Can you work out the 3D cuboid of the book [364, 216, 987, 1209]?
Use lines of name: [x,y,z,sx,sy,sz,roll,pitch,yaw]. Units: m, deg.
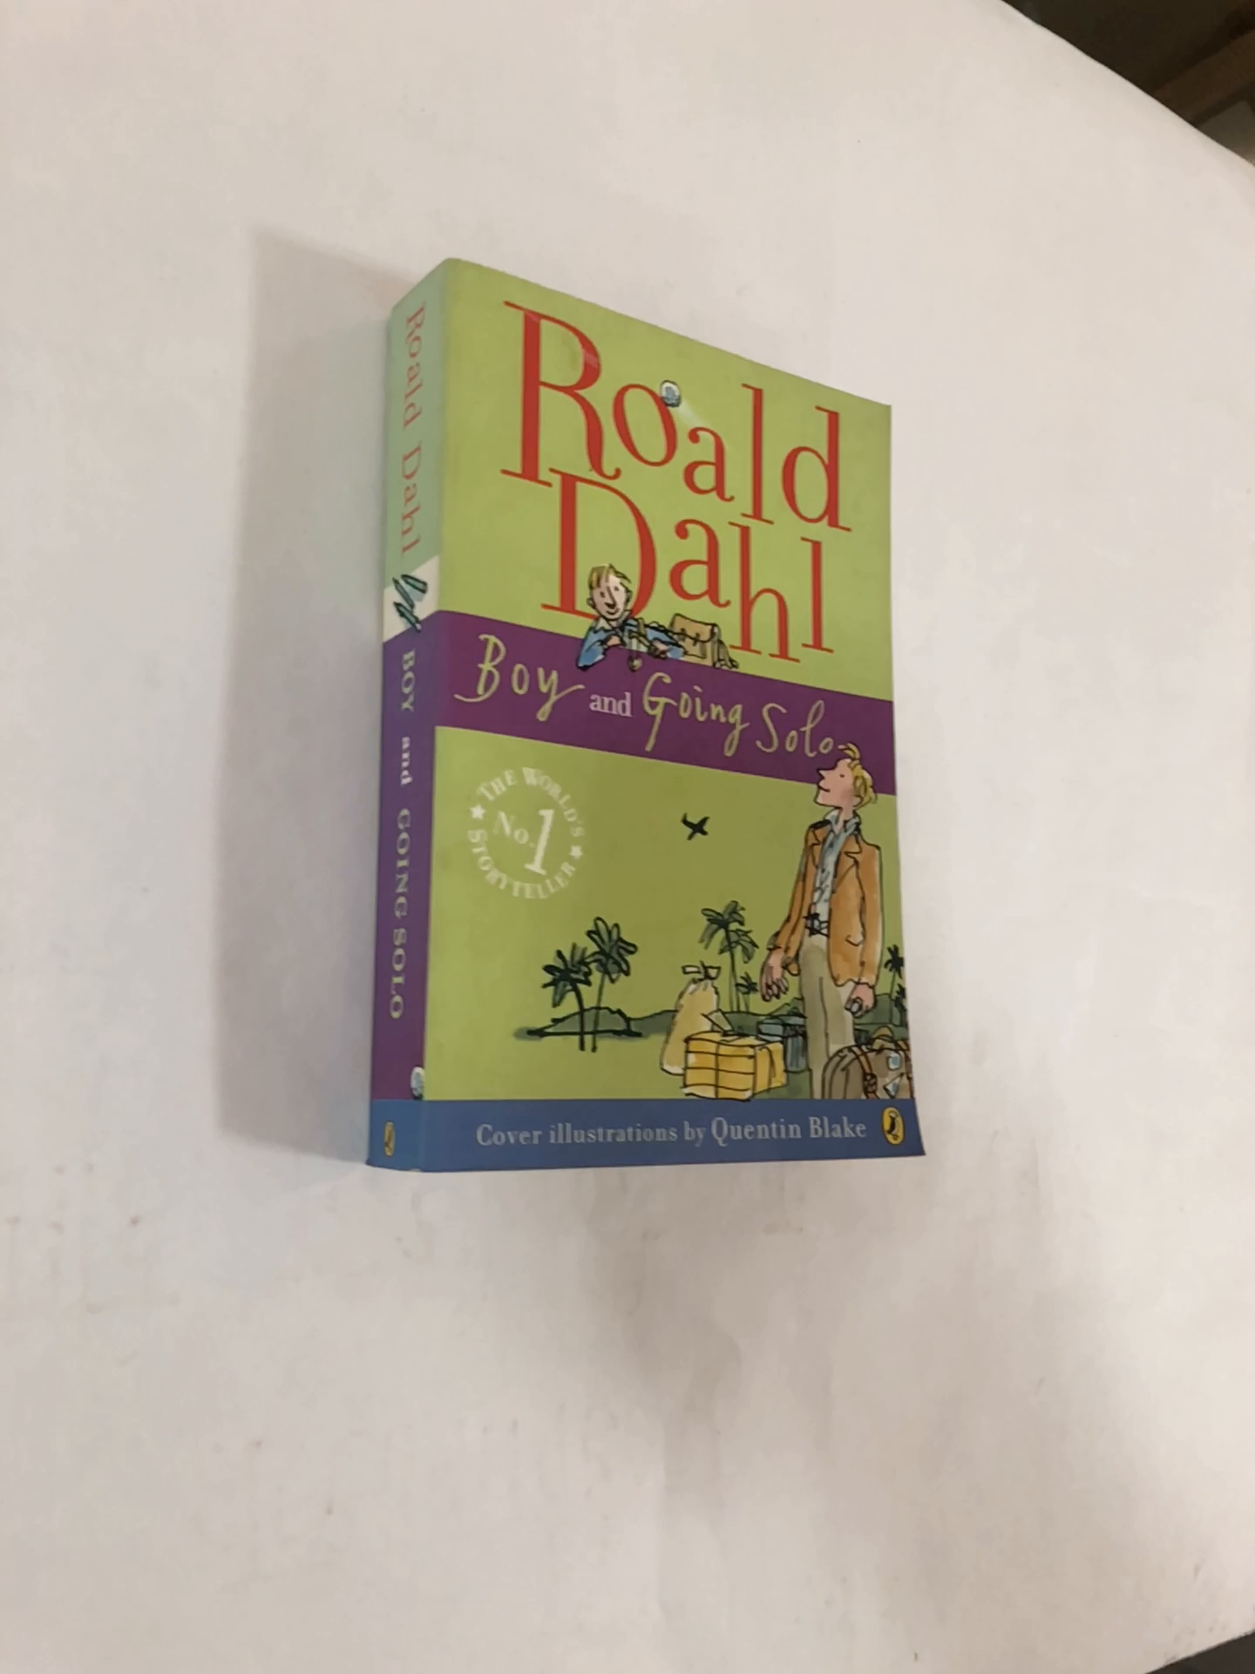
book: [0.015,-0.020,0.317,0.140,0.036,0.193,6,78,-34]
